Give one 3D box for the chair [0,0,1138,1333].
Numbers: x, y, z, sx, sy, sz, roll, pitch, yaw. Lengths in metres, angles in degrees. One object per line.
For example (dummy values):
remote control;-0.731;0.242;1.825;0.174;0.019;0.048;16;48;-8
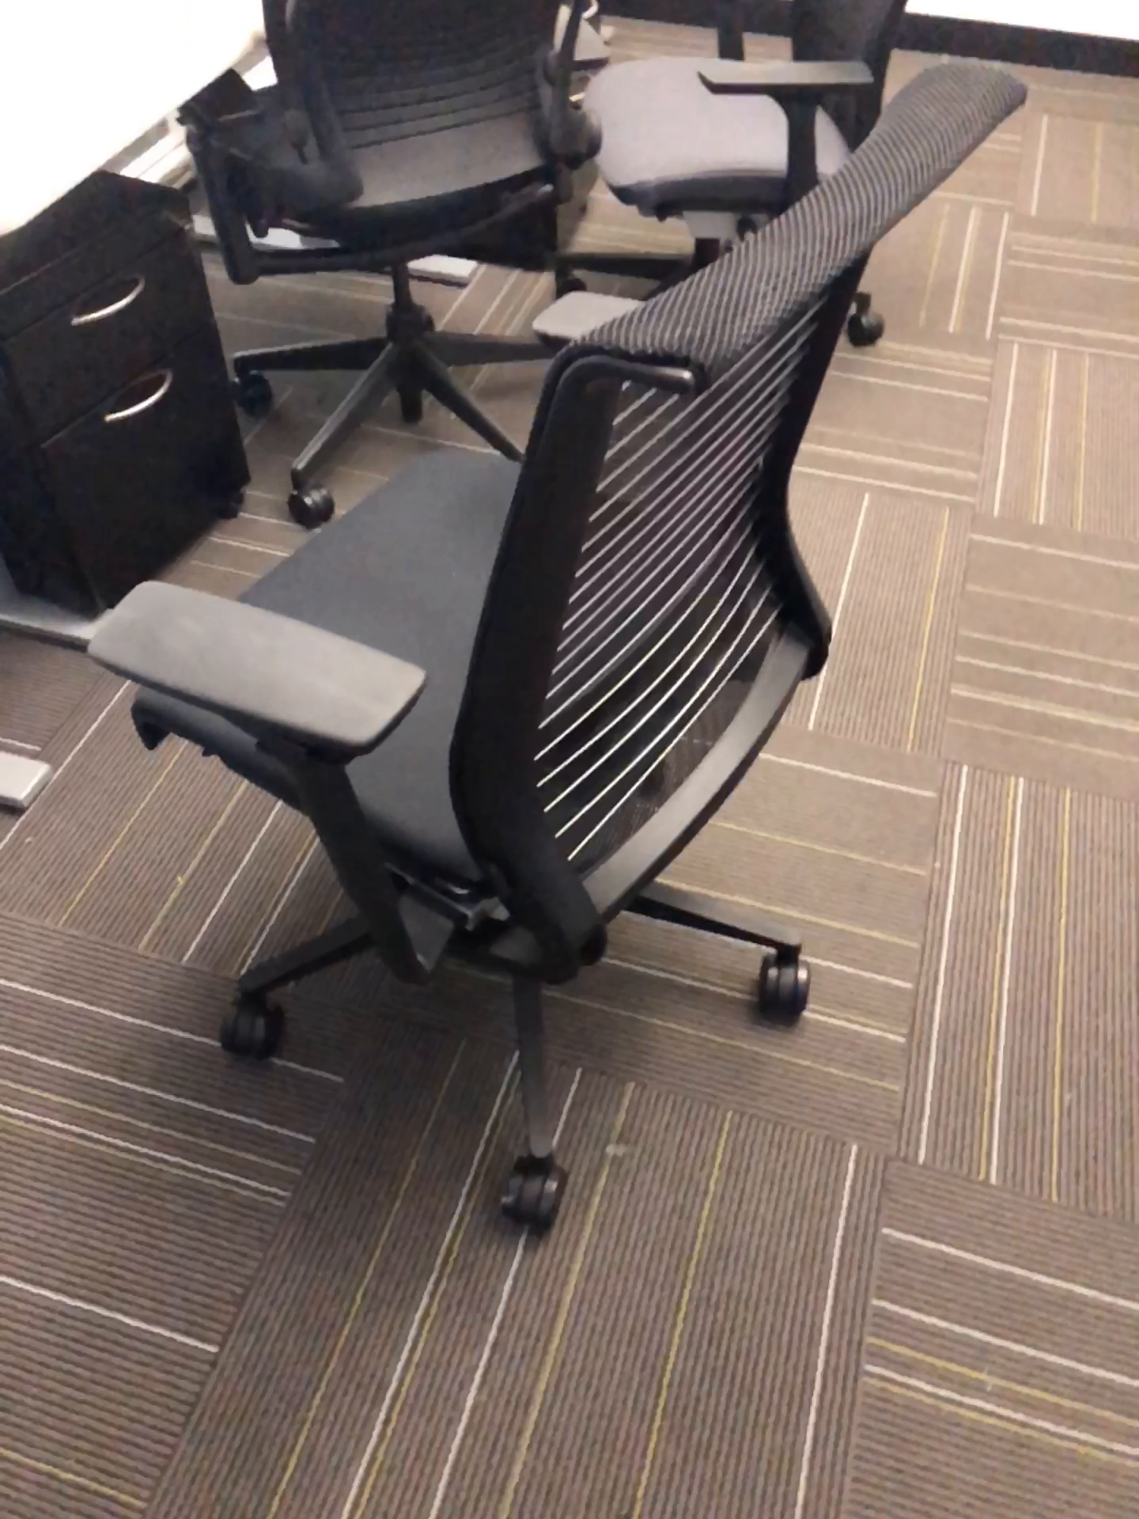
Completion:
chair;-0.012;-0.159;1.157;0.661;0.996;0.752;23;51;20
